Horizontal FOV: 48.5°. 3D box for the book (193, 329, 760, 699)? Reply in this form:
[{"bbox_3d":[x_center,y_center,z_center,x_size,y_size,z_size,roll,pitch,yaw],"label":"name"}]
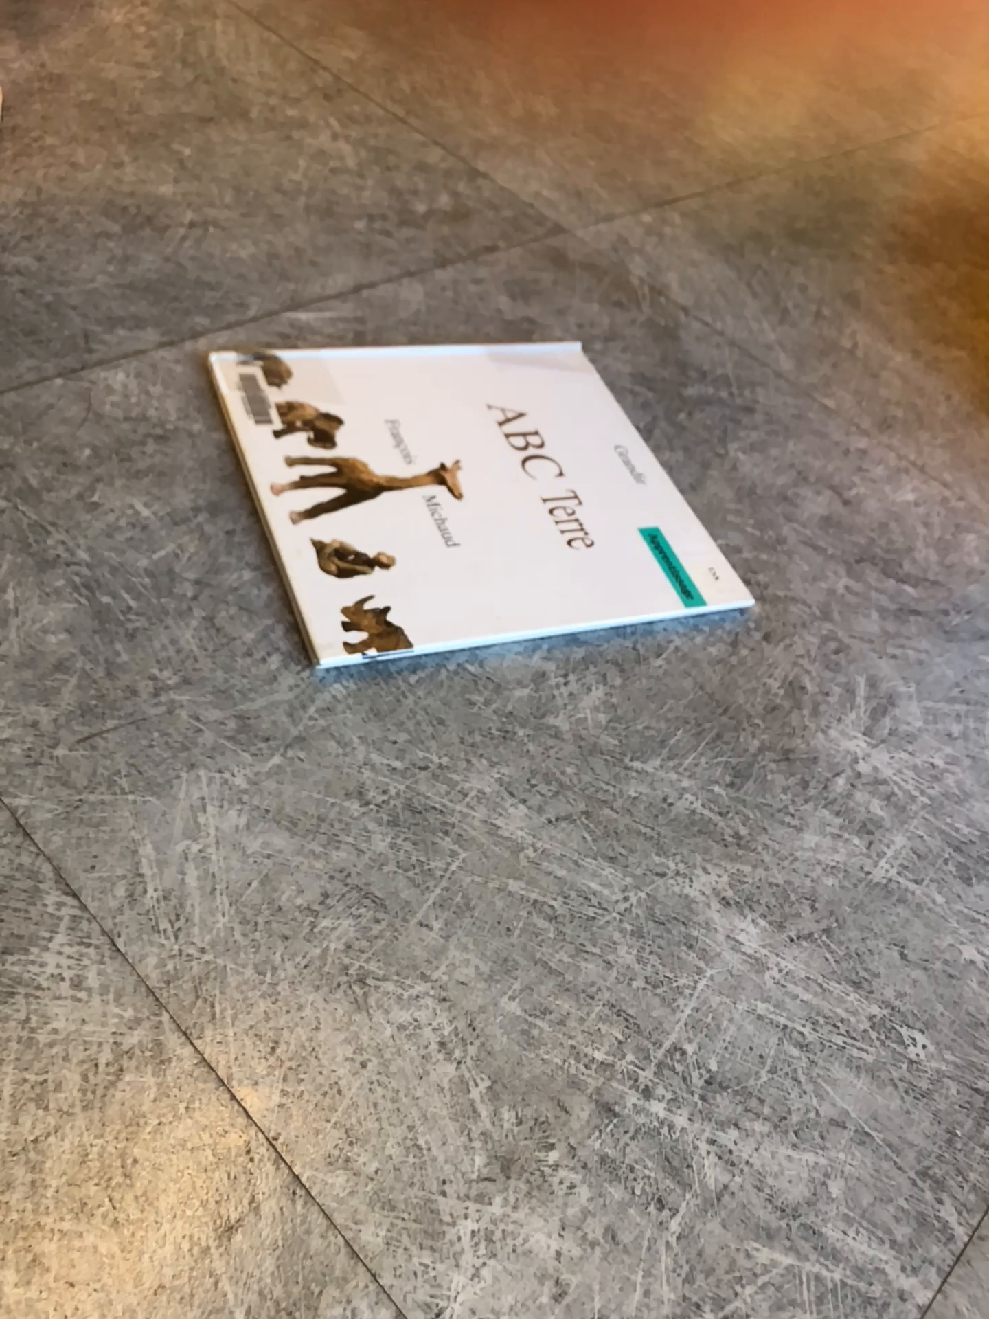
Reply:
[{"bbox_3d":[-0.014,-0.080,0.486,0.194,0.020,0.201,-8,52,-24],"label":"book"}]
